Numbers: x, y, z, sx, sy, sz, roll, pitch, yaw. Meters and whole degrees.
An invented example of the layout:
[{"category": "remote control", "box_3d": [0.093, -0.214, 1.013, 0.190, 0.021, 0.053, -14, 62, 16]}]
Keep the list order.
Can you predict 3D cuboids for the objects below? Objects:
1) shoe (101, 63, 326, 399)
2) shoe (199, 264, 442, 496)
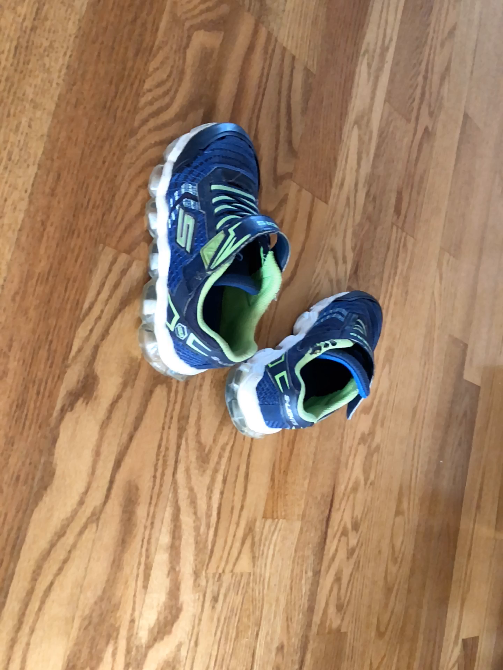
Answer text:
[{"category": "shoe", "box_3d": [-0.026, -0.065, 0.403, 0.094, 0.095, 0.203, 15, 81, -42]}, {"category": "shoe", "box_3d": [0.072, 0.027, 0.492, 0.213, 0.087, 0.093, -38, 116, -36]}]
